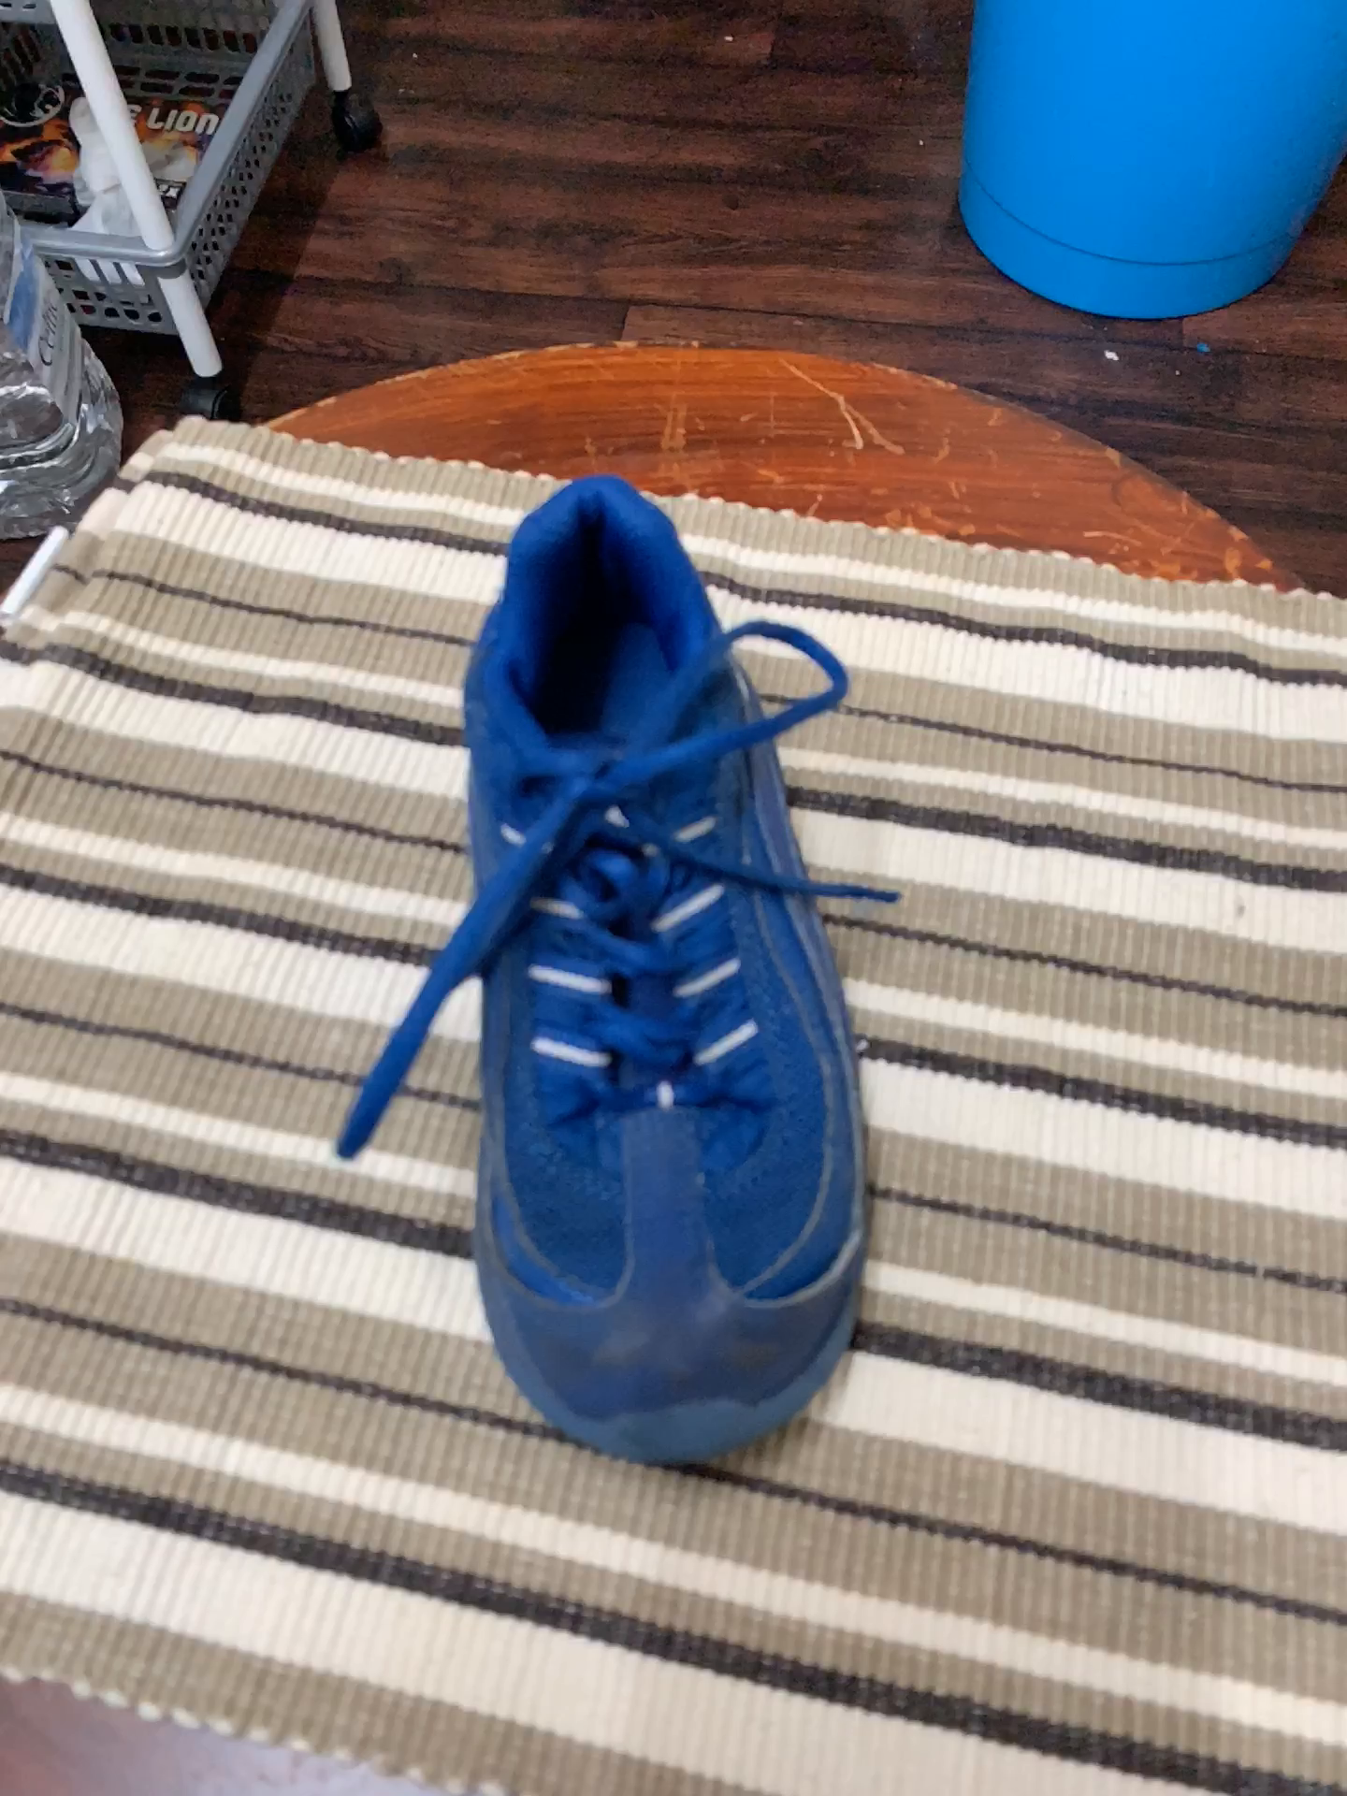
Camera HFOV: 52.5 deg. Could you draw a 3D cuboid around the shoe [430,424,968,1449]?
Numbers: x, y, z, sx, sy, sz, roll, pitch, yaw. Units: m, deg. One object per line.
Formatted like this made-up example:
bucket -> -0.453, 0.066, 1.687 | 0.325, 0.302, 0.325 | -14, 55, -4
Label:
shoe -> 0.000, 0.005, 0.262 | 0.073, 0.079, 0.176 | -3, 62, 0
